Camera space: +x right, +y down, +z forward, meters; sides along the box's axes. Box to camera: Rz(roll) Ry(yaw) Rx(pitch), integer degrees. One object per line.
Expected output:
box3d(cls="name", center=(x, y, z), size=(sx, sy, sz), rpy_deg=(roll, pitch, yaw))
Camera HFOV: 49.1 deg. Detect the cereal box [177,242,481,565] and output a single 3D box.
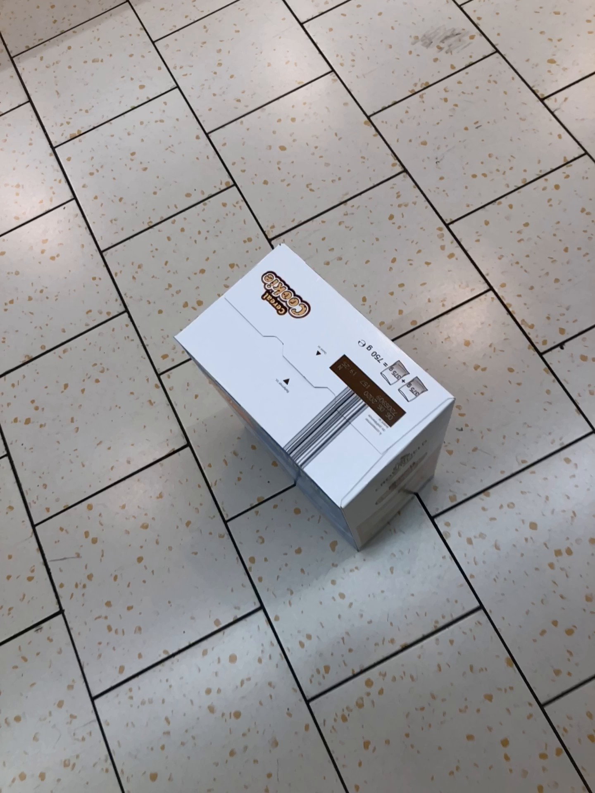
box3d(cls="cereal box", center=(0.034, 0.024, 0.597), size=(0.120, 0.250, 0.200), rpy_deg=(-42, 70, -8))
